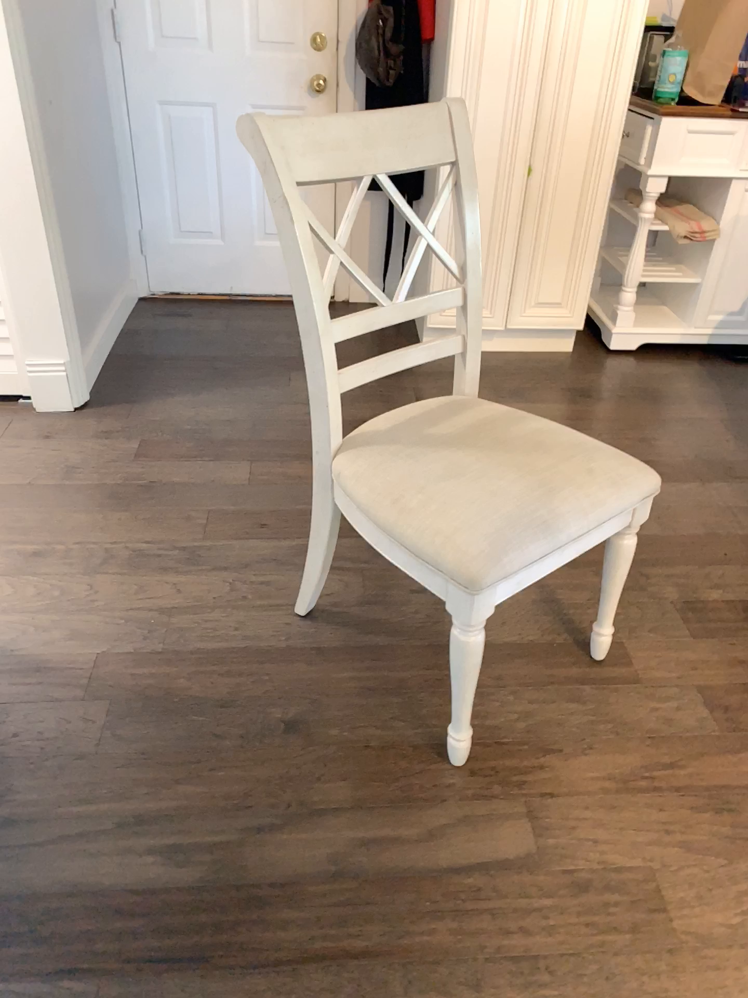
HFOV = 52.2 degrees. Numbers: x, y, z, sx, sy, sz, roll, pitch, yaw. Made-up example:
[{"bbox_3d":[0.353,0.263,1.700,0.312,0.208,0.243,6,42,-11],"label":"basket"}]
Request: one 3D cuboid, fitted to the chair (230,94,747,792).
[{"bbox_3d":[0.173,-0.143,1.340,0.531,0.924,0.653,-22,41,-33],"label":"chair"}]
